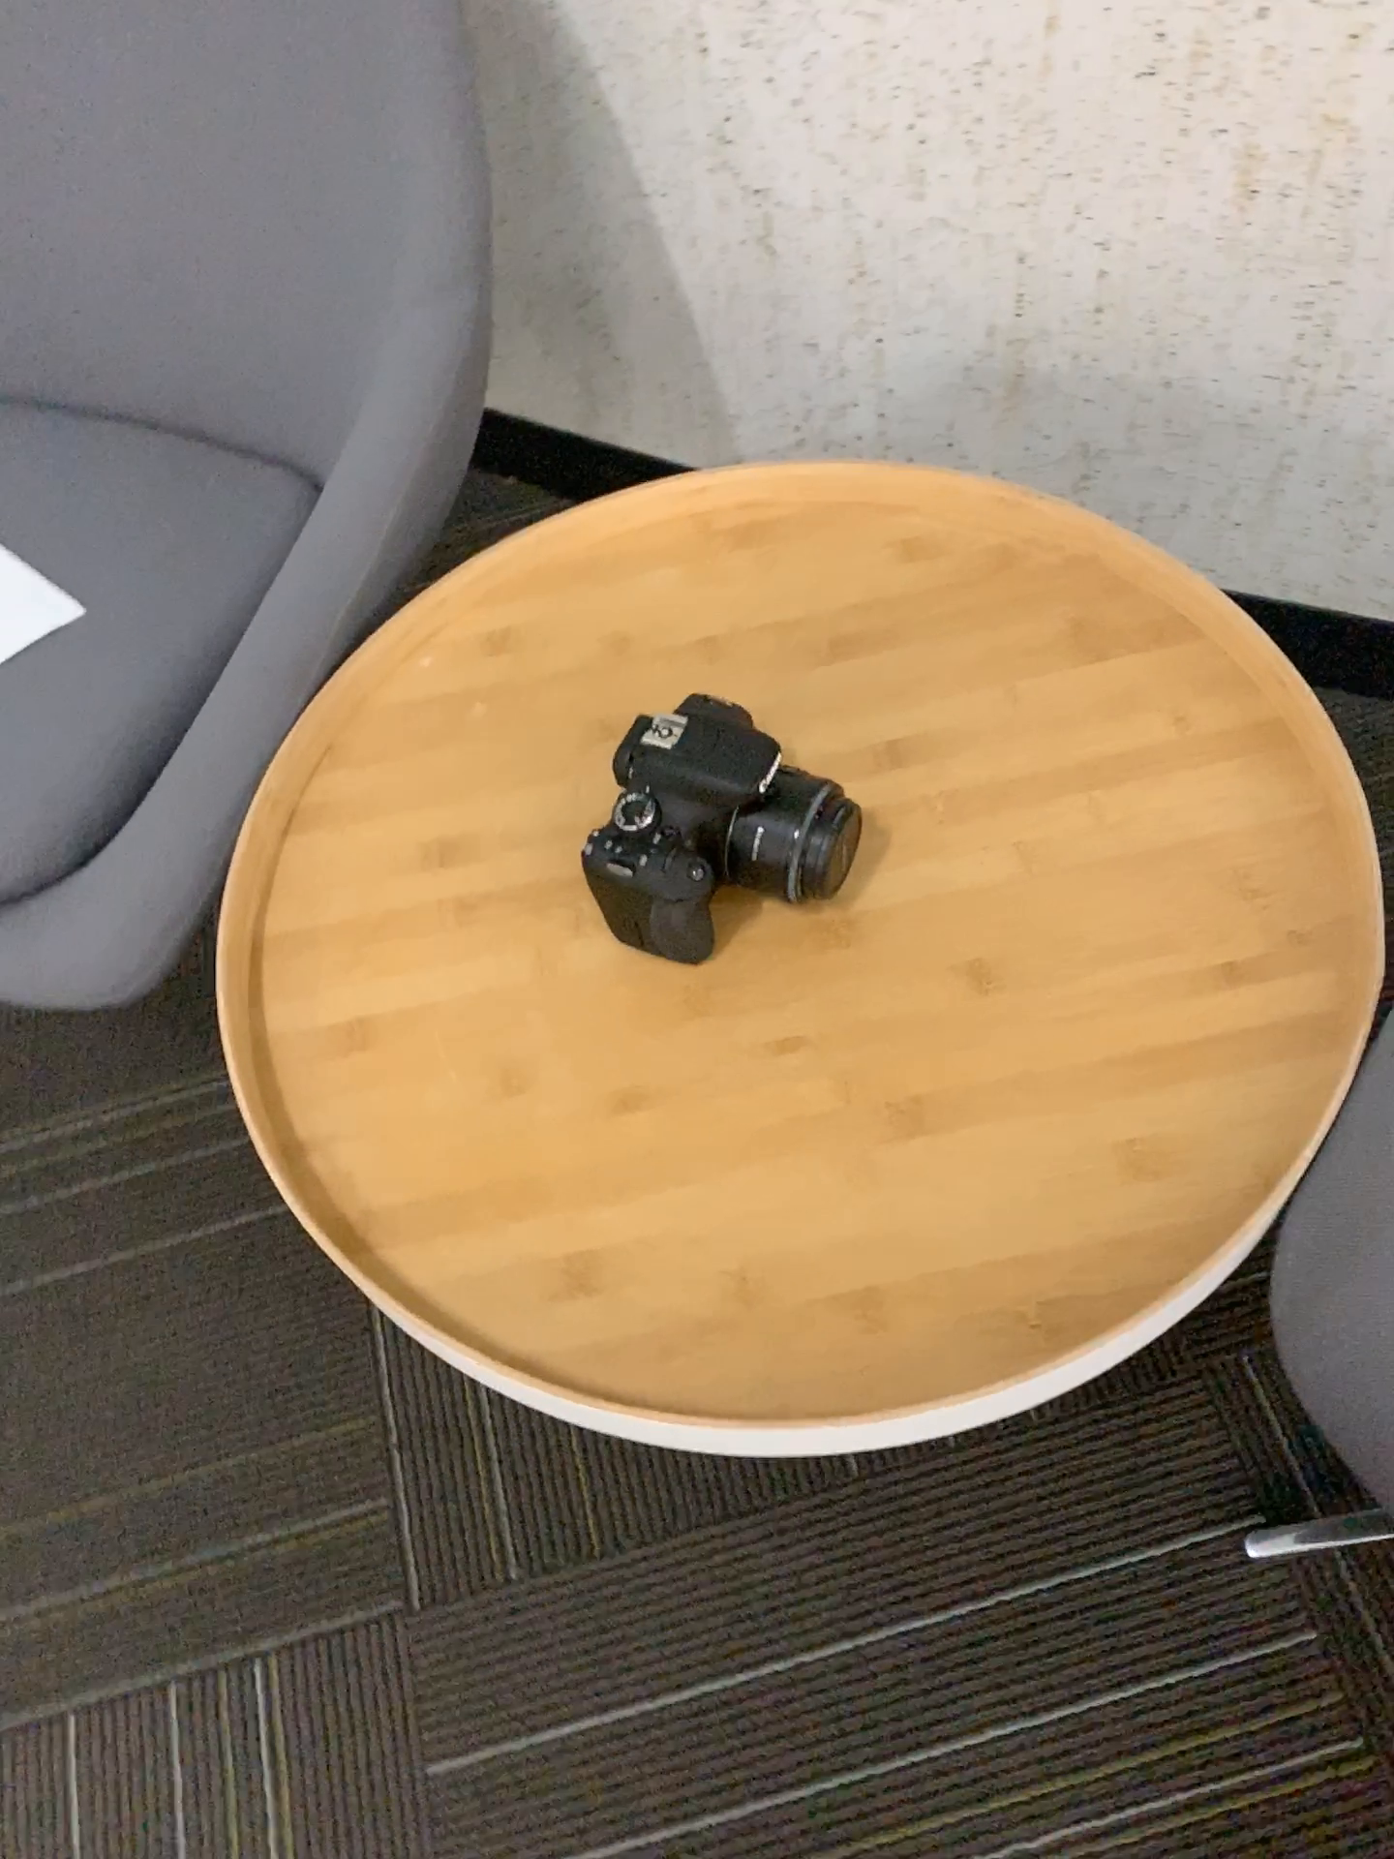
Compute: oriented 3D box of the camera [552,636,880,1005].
[{"bbox_3d":[0.016,-0.057,0.743,0.117,0.100,0.133,18,64,18],"label":"camera"}]
